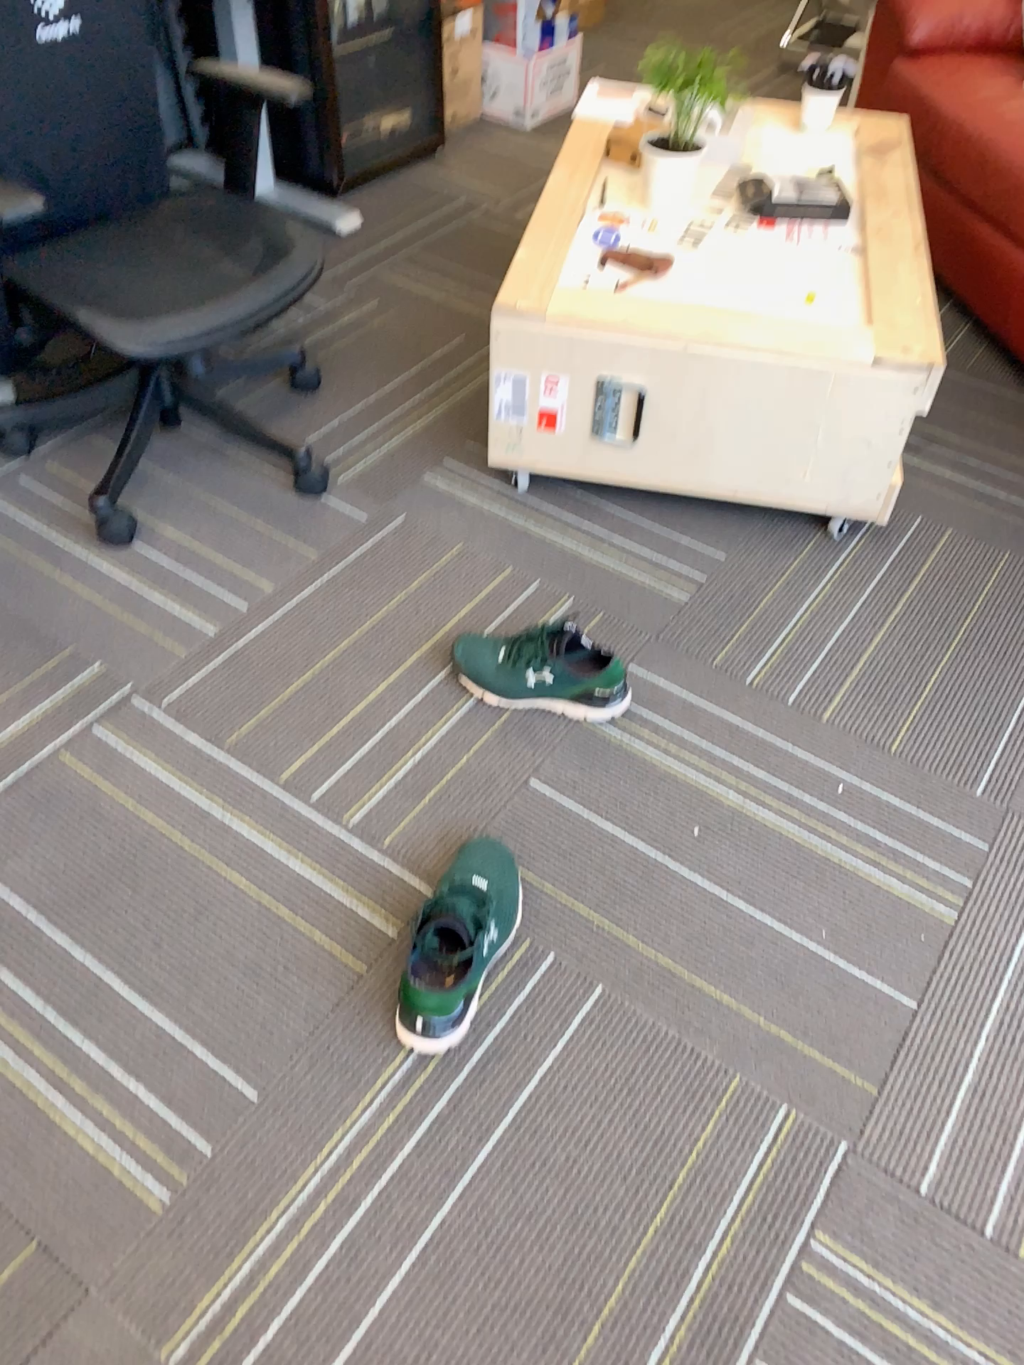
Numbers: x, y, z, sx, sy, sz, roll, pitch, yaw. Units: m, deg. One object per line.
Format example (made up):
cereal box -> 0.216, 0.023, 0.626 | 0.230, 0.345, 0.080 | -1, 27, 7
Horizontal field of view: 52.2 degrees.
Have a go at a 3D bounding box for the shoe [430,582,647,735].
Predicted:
shoe -> 0.040, -0.039, 1.643 | 0.310, 0.129, 0.131 | 12, 48, 8

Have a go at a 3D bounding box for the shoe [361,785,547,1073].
shoe -> -0.066, 0.304, 1.329 | 0.130, 0.129, 0.311 | 14, 48, 10
